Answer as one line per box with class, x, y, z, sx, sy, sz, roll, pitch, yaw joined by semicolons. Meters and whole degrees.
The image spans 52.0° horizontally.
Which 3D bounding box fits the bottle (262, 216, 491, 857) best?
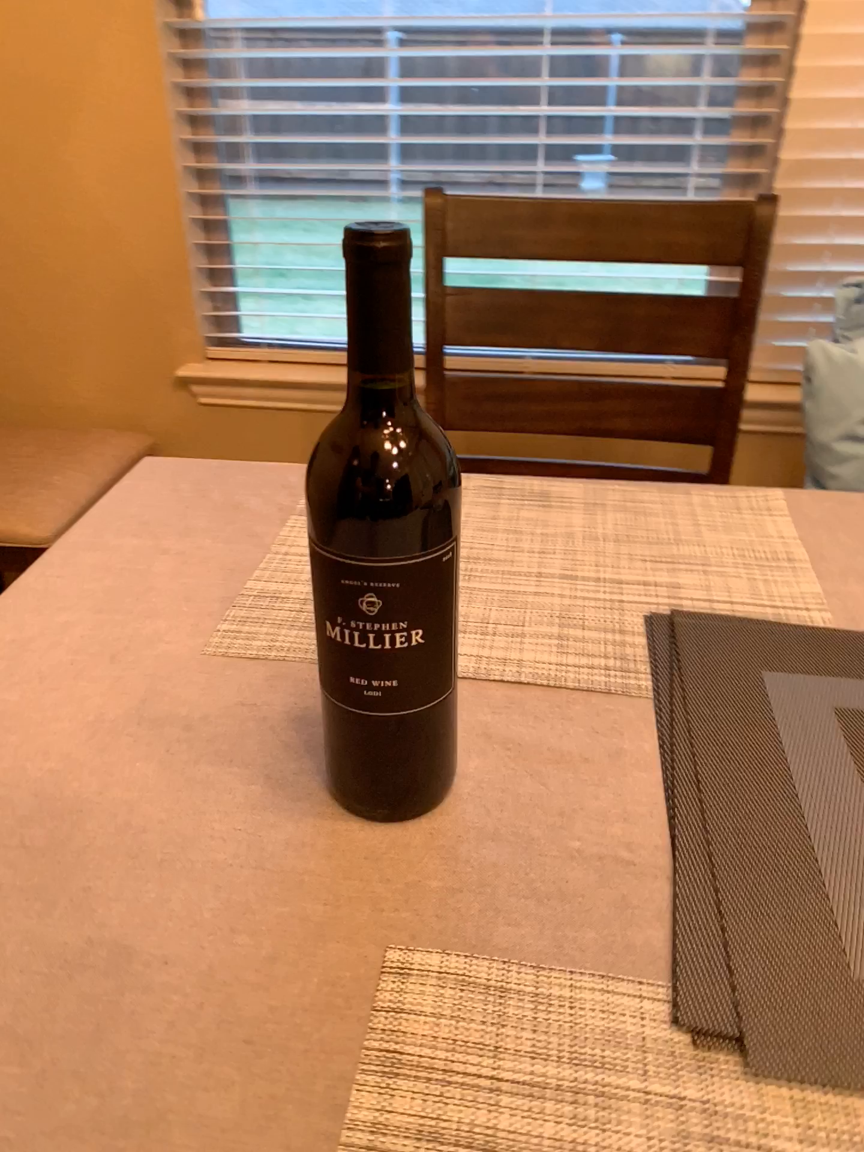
bottle;-0.019;-0.007;0.445;0.080;0.314;0.080;0;29;0
